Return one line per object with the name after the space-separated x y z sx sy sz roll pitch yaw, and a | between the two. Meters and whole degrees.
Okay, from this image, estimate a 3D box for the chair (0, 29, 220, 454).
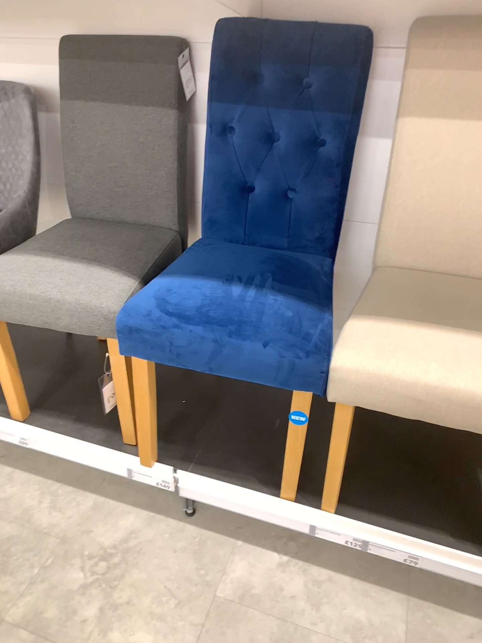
-0.340 -0.234 1.295 0.413 0.890 0.624 9 34 11 | chair

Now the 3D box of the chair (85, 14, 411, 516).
0.052 -0.129 1.106 0.433 0.929 0.523 11 35 14 | chair
